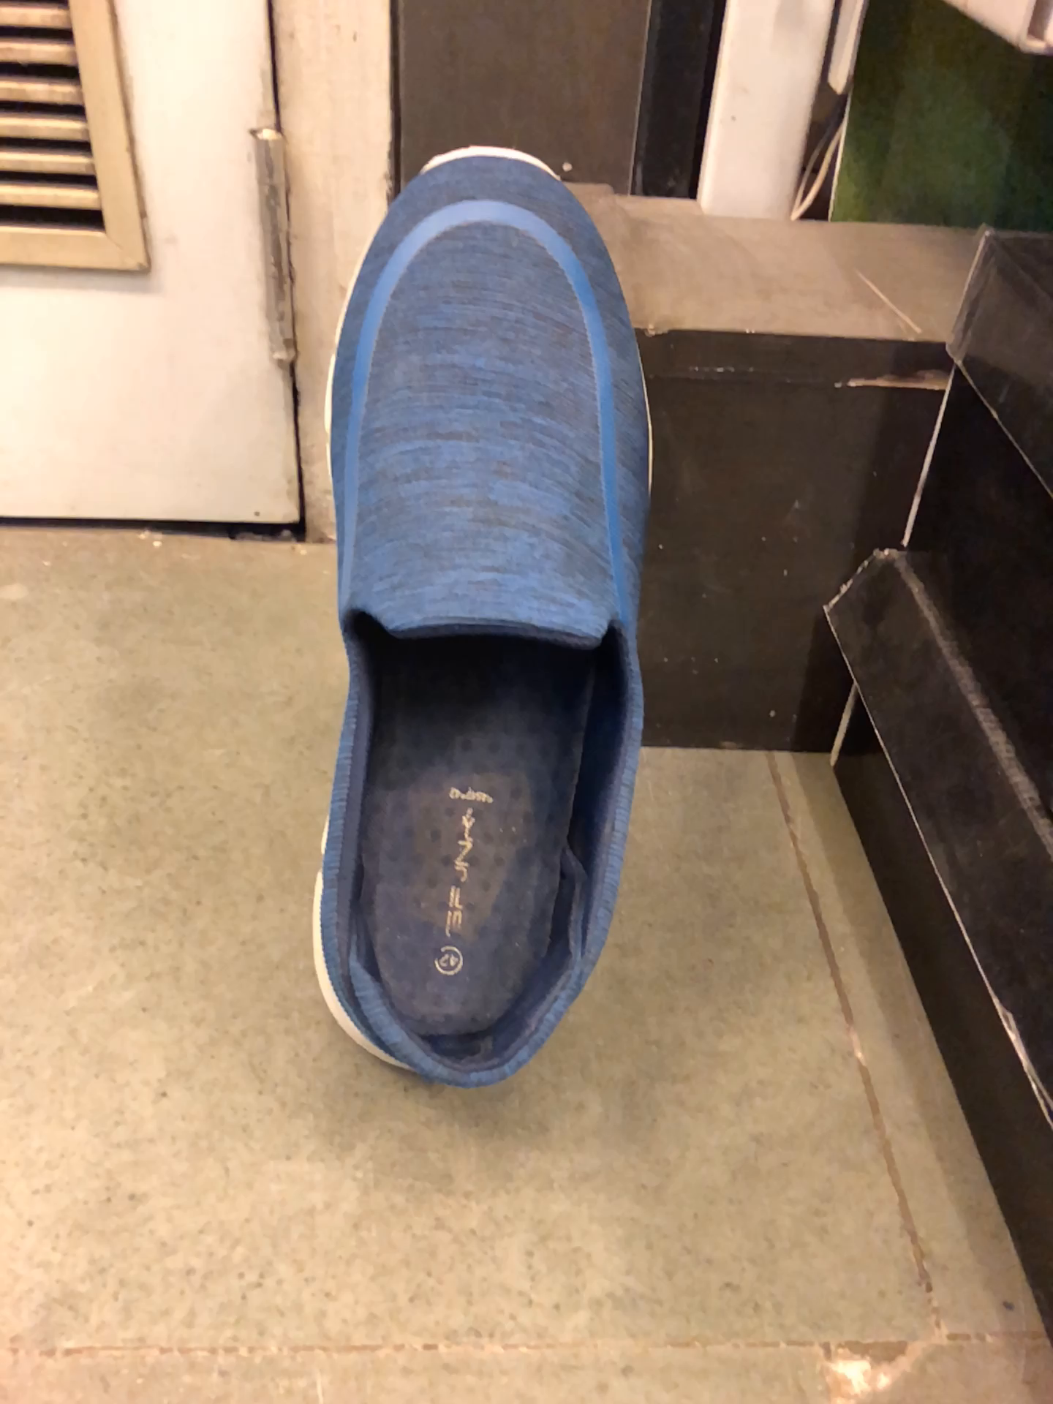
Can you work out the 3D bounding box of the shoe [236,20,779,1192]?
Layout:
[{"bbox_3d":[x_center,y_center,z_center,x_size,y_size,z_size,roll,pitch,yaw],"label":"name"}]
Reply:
[{"bbox_3d":[-0.005,-0.023,0.323,0.110,0.273,0.095,5,-6,-6],"label":"shoe"}]
